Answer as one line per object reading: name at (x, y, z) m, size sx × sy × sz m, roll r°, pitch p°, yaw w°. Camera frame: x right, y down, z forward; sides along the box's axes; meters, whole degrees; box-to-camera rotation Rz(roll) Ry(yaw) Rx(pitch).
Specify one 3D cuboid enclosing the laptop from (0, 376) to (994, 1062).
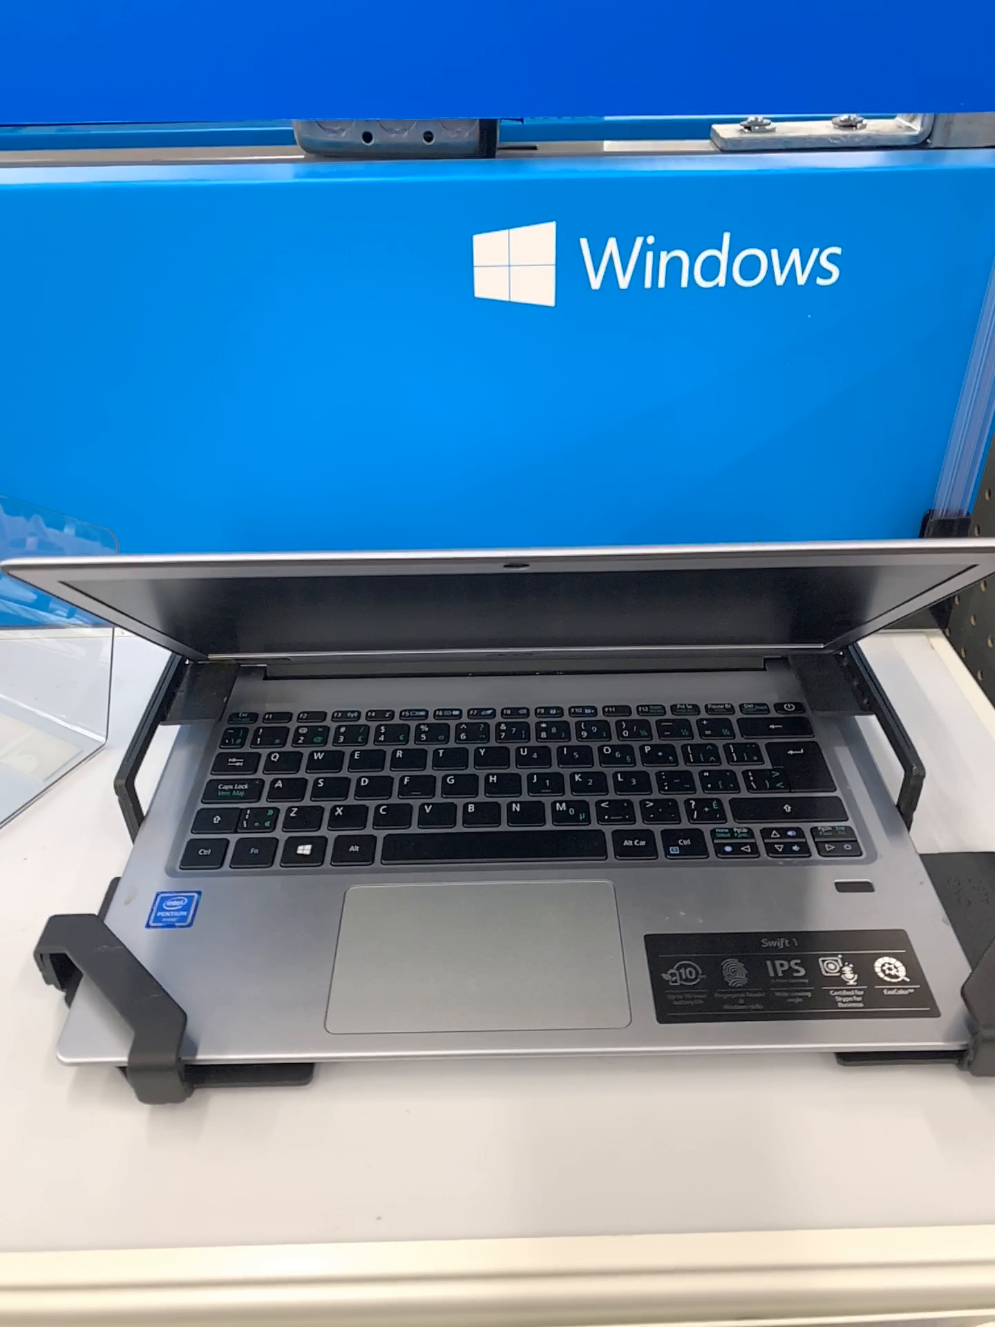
laptop at (0.006, 0.004, 0.372) m, size 0.305 × 0.141 × 0.214 m, roll -1°, pitch 35°, yaw 0°
